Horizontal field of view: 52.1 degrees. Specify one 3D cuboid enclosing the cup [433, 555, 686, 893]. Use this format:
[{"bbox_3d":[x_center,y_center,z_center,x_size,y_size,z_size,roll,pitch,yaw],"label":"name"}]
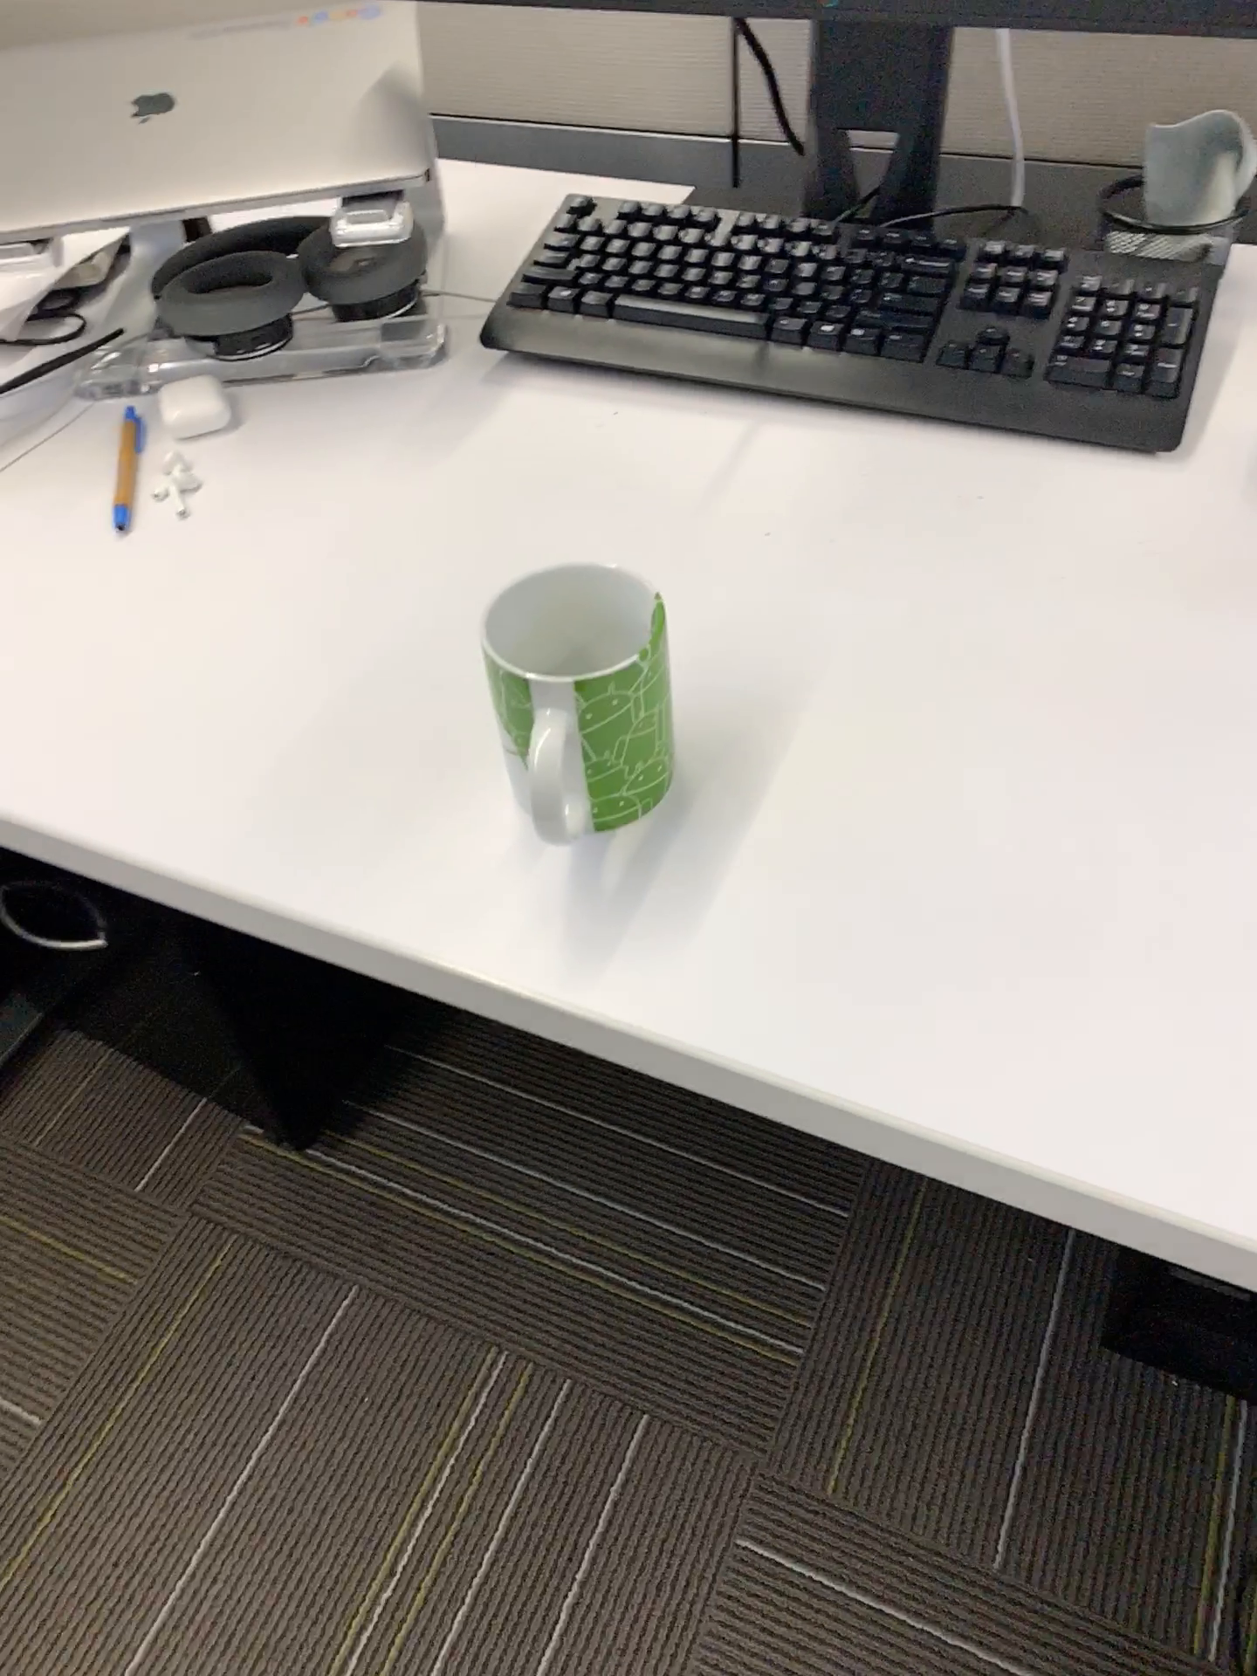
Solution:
[{"bbox_3d":[-0.023,-0.049,0.546,0.090,0.080,0.120,-1,48,5],"label":"cup"}]
